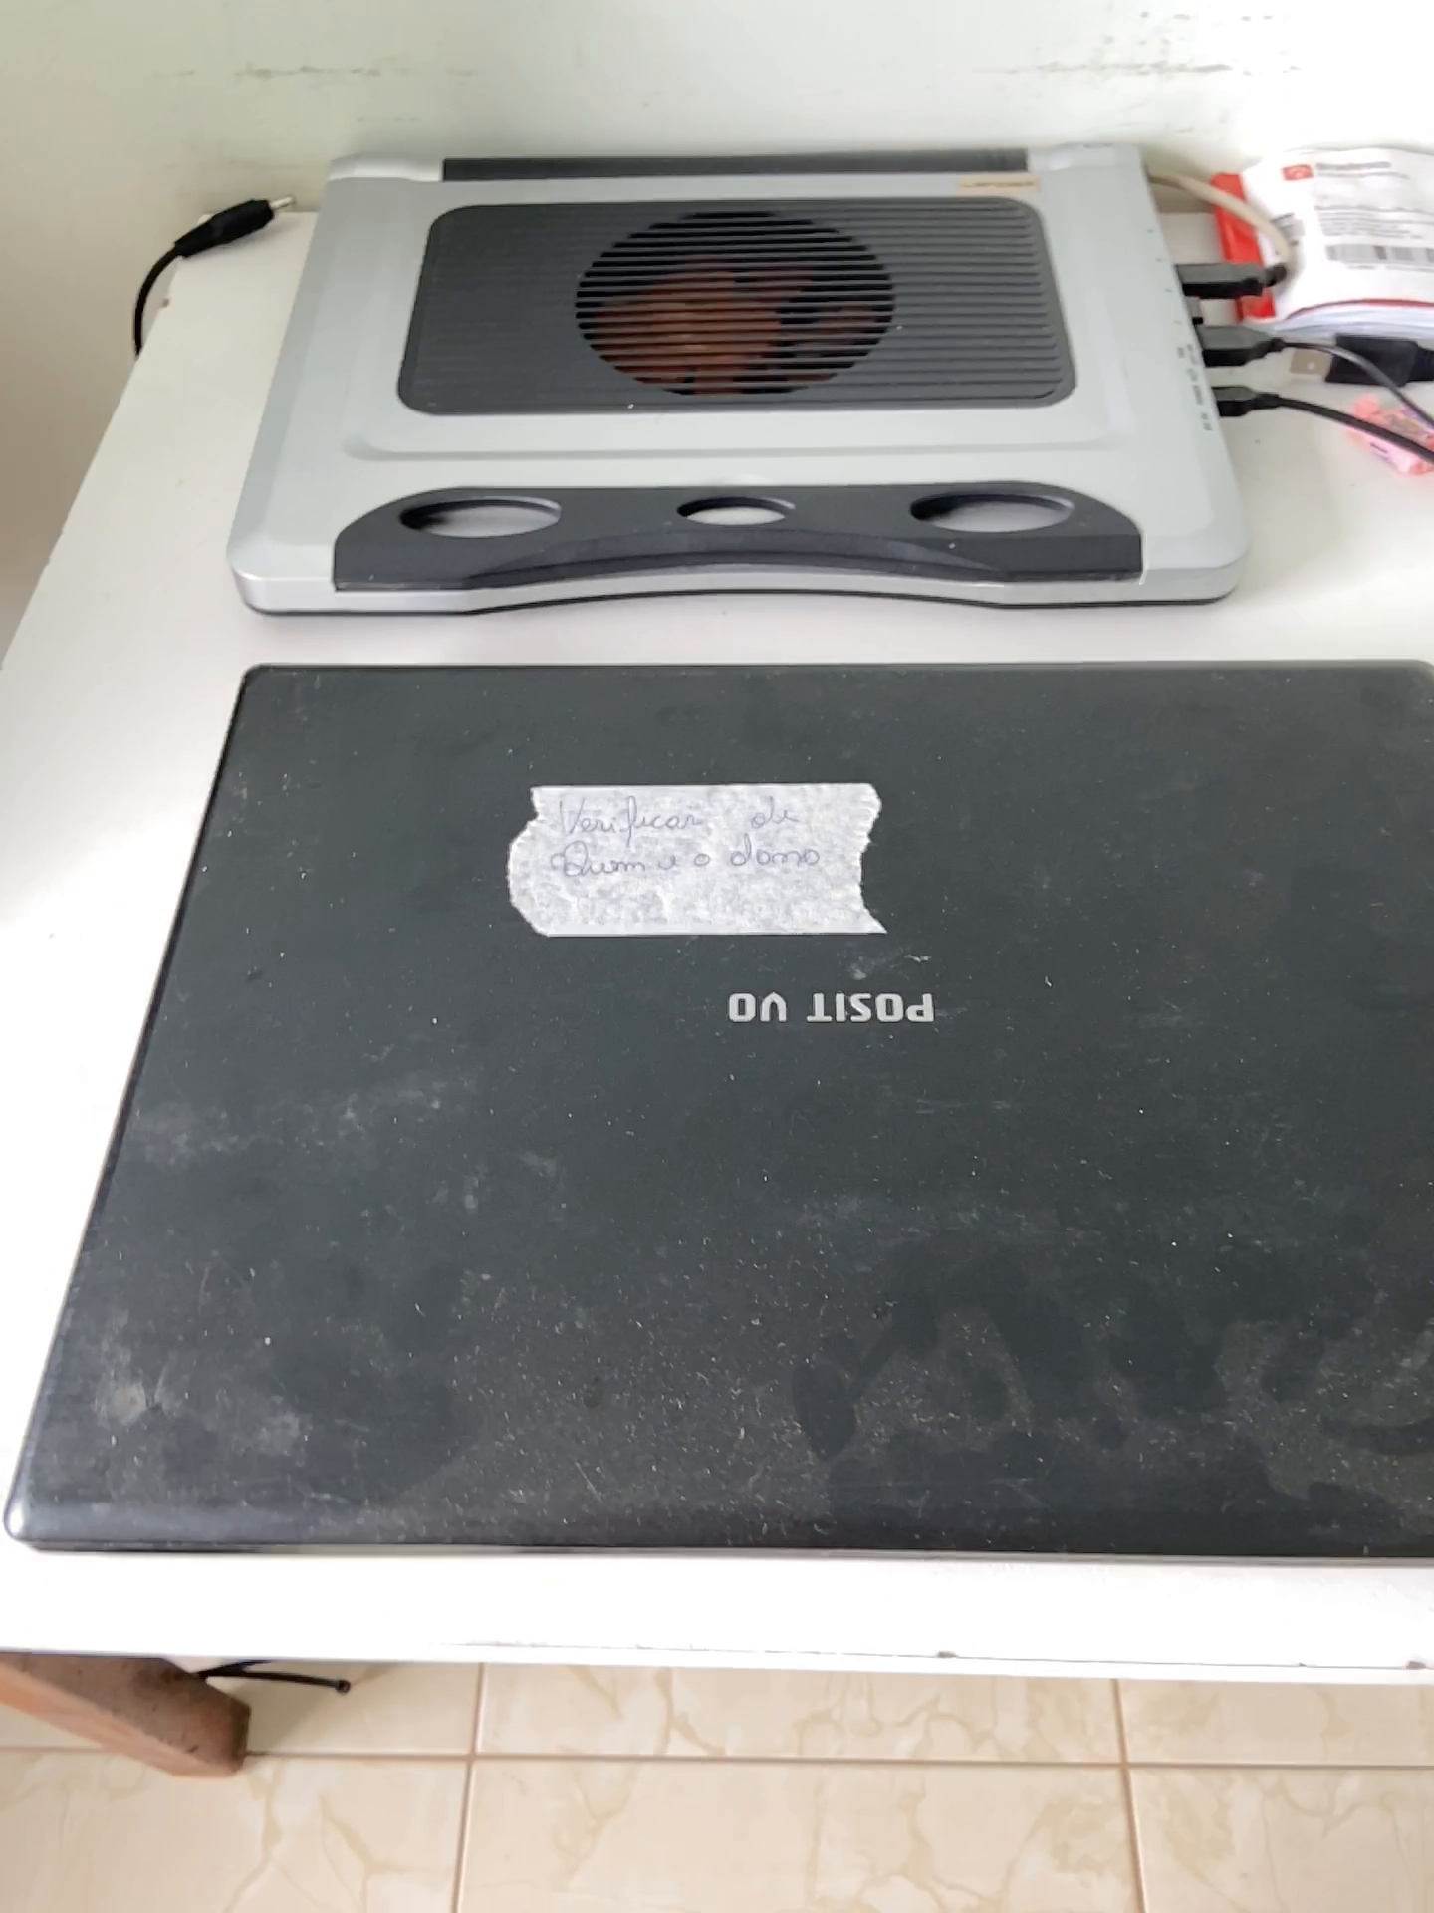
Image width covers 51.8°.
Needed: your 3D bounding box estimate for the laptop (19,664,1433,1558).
[{"bbox_3d":[0.030,0.018,0.354,0.328,0.008,0.234,0,56,1],"label":"laptop"}]
